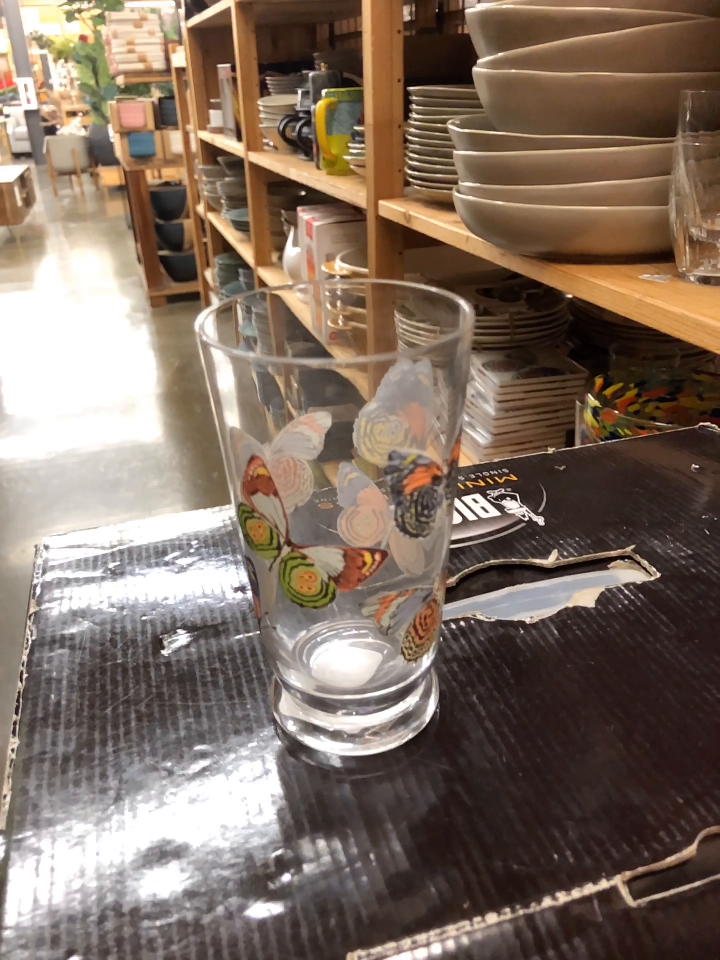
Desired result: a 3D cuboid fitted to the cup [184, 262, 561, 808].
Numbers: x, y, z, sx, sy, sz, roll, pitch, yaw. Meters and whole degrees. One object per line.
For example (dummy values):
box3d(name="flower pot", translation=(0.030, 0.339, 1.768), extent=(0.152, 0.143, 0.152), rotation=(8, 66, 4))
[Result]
box3d(name="cup", translation=(0.000, 0.011, 0.228), extent=(0.079, 0.125, 0.075), rotation=(-2, 26, 1))
